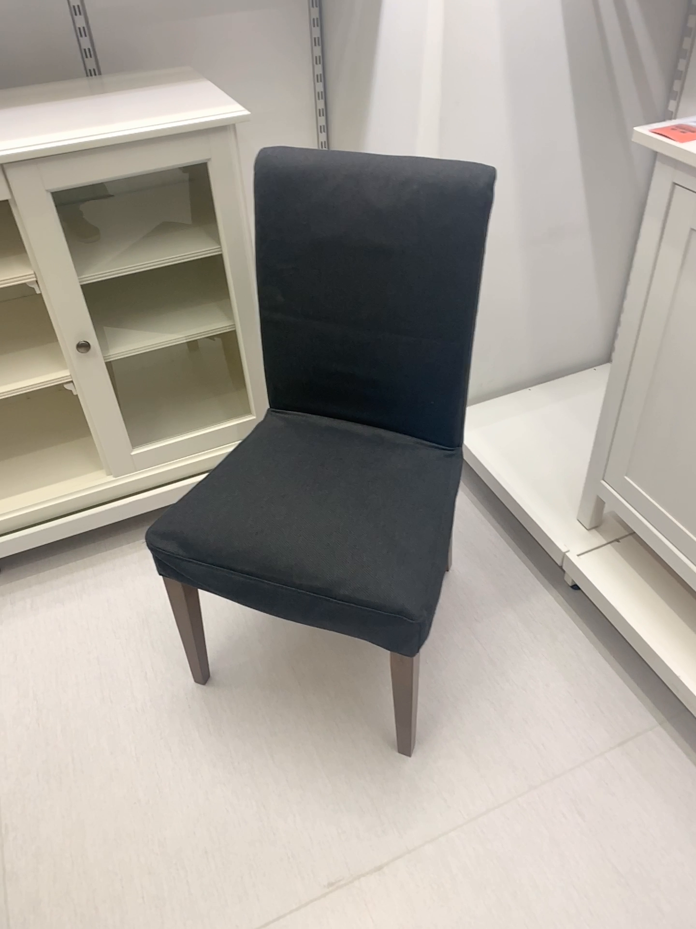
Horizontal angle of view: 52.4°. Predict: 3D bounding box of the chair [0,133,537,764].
[{"bbox_3d":[-0.045,-0.039,1.262,0.541,0.836,0.612,13,43,18],"label":"chair"}]
